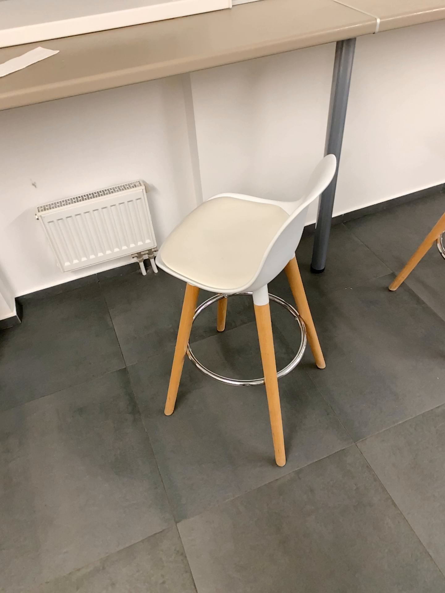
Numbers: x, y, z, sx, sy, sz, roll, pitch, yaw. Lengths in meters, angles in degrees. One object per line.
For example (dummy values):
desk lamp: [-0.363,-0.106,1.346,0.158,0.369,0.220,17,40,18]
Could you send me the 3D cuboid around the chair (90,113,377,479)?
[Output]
chair: [0.069,0.032,1.328,0.480,0.886,0.482,18,49,20]
